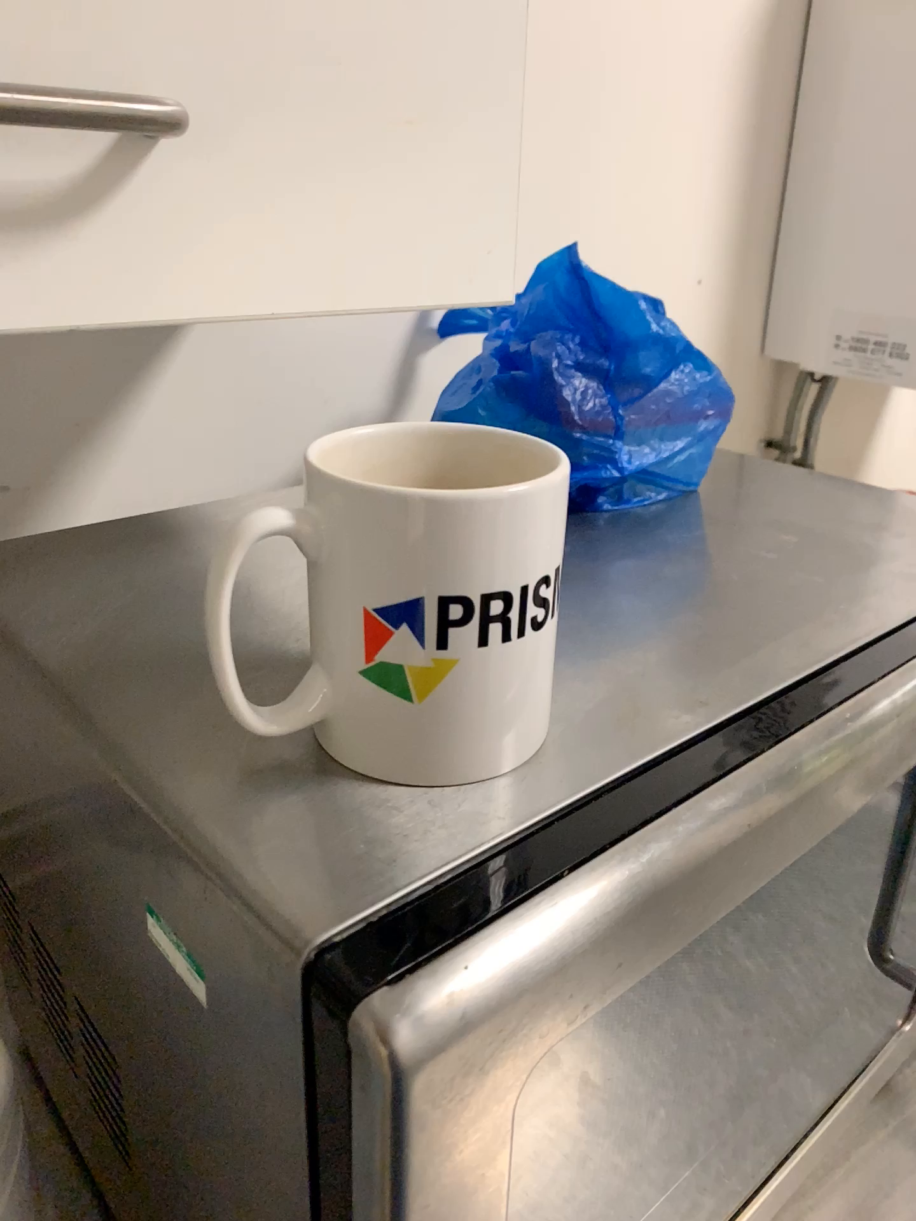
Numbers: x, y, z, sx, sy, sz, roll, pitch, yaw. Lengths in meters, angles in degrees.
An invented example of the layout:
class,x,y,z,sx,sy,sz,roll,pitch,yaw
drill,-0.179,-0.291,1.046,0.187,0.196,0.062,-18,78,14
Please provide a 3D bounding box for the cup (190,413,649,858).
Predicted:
class,x,y,z,sx,sy,sz,roll,pitch,yaw
cup,-0.017,-0.002,0.308,0.113,0.099,0.095,-9,25,-23
